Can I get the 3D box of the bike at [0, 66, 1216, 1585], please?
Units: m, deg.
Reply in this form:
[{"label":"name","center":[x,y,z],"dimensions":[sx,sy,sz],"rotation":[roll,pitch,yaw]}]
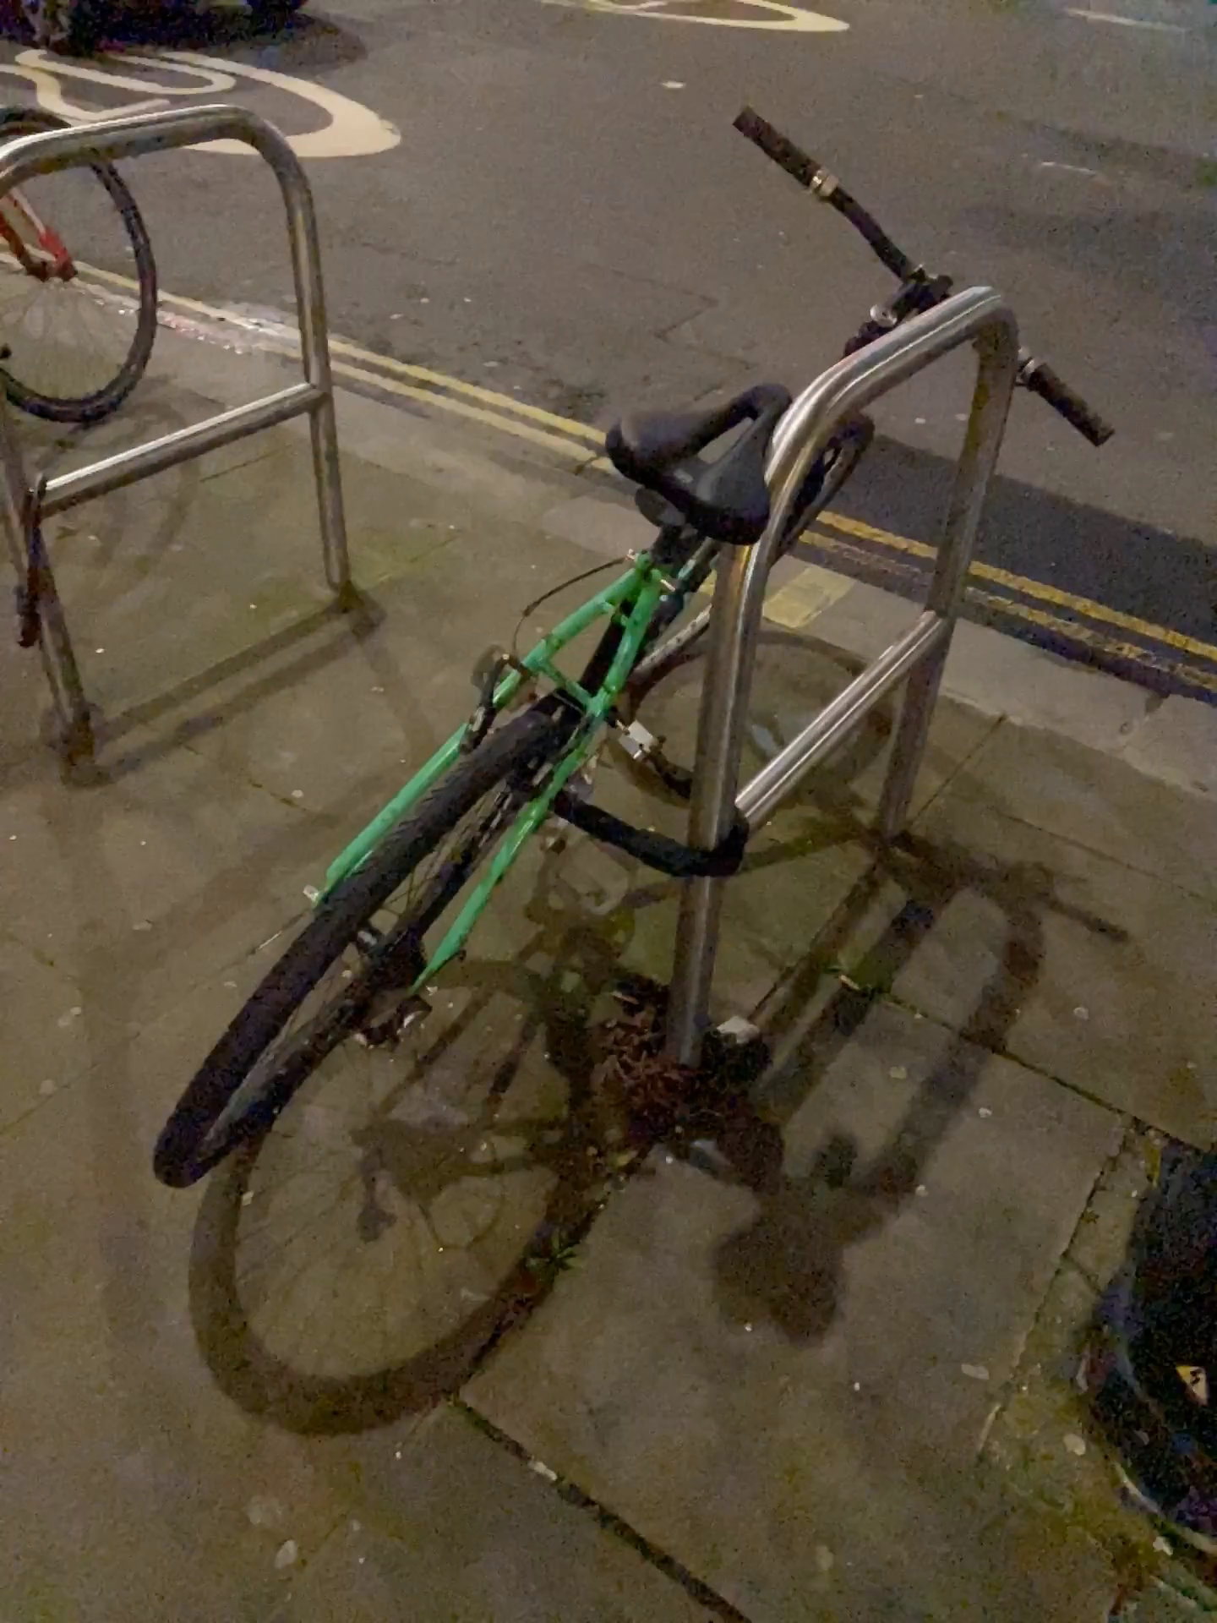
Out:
[{"label":"bike","center":[0.255,-0.206,1.564],"dimensions":[0.639,1.014,1.695],"rotation":[20,43,20]}]
